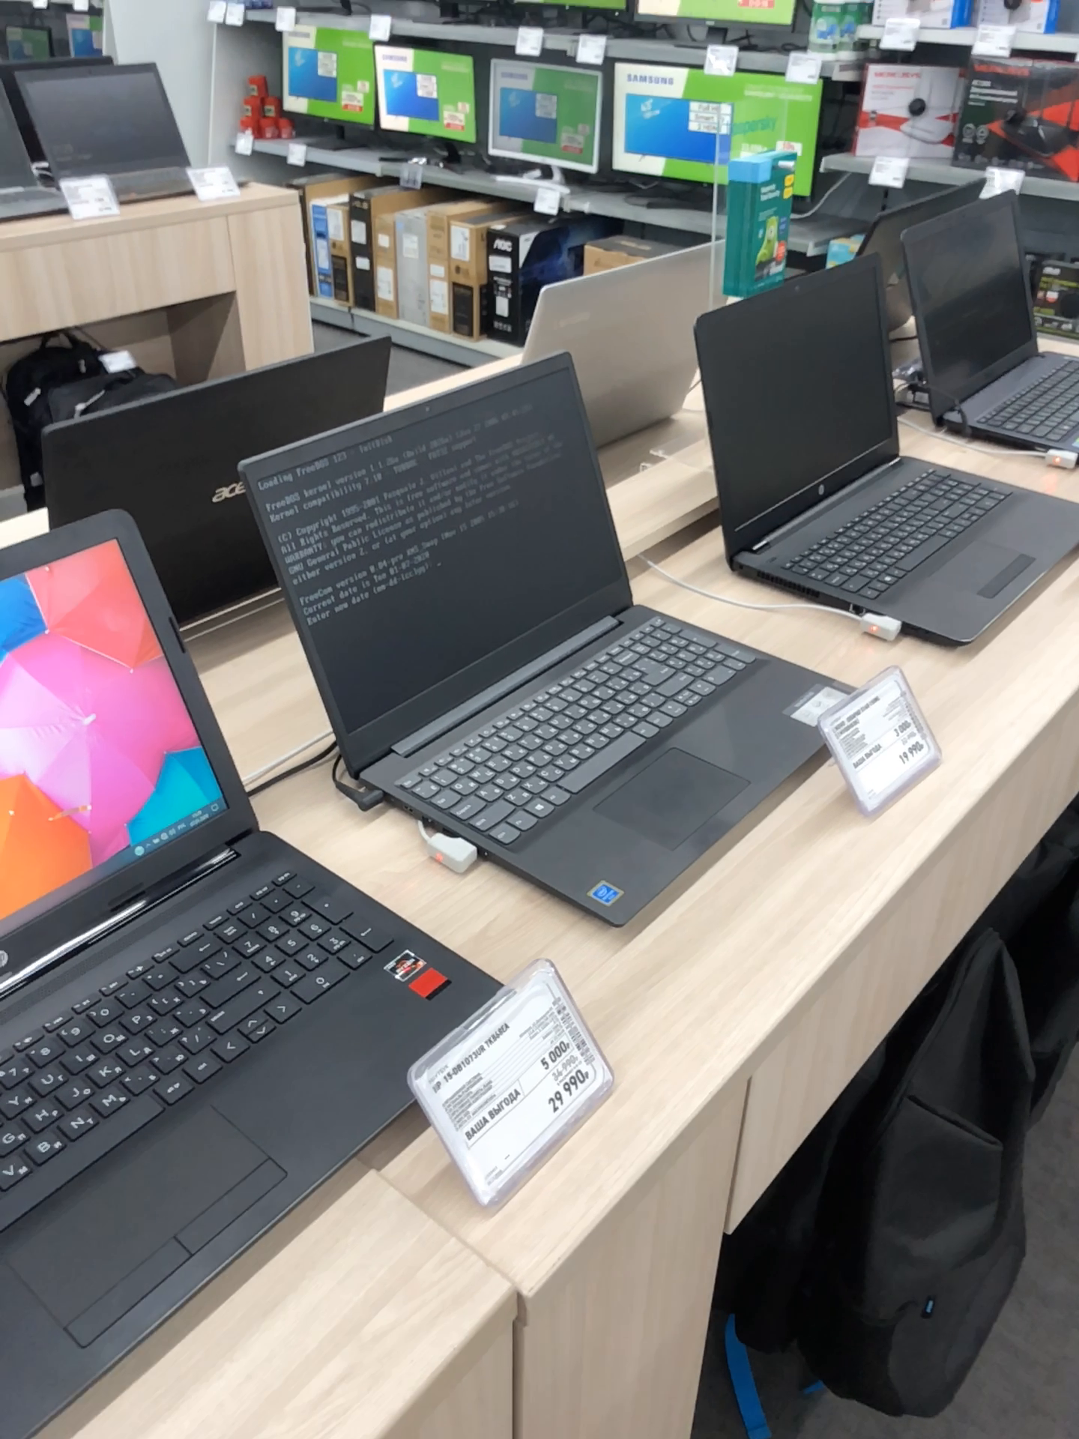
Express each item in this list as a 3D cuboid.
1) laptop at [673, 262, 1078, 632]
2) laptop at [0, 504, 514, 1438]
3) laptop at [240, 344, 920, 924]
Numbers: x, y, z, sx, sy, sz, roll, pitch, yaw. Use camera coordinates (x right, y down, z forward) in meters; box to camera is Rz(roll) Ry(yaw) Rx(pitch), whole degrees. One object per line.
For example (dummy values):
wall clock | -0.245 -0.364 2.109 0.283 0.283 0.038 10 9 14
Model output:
laptop | 0.364 -0.285 1.154 0.297 0.208 0.338 25 40 31
laptop | -0.245 0.089 0.575 0.321 0.202 0.352 26 40 32
laptop | 0.033 -0.095 0.866 0.322 0.210 0.341 26 41 31
